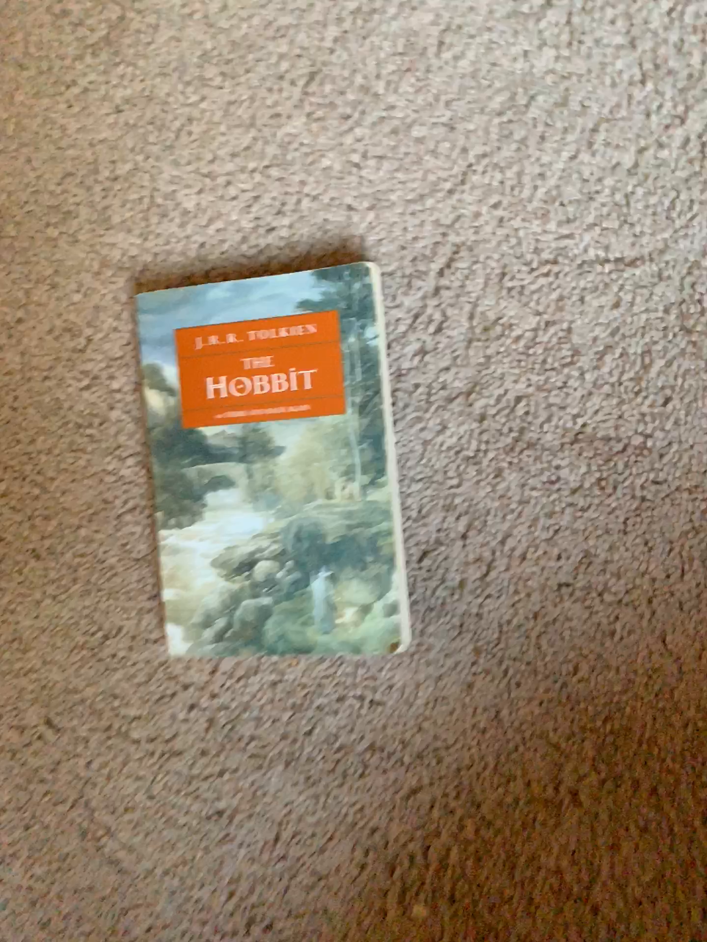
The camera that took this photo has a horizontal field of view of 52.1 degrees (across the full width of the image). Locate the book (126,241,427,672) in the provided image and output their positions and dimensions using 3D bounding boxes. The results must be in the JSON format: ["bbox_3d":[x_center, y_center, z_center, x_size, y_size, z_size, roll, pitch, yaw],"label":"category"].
[{"bbox_3d":[-0.045,-0.004,0.405,0.150,0.030,0.220,-5,86,13],"label":"book"}]
